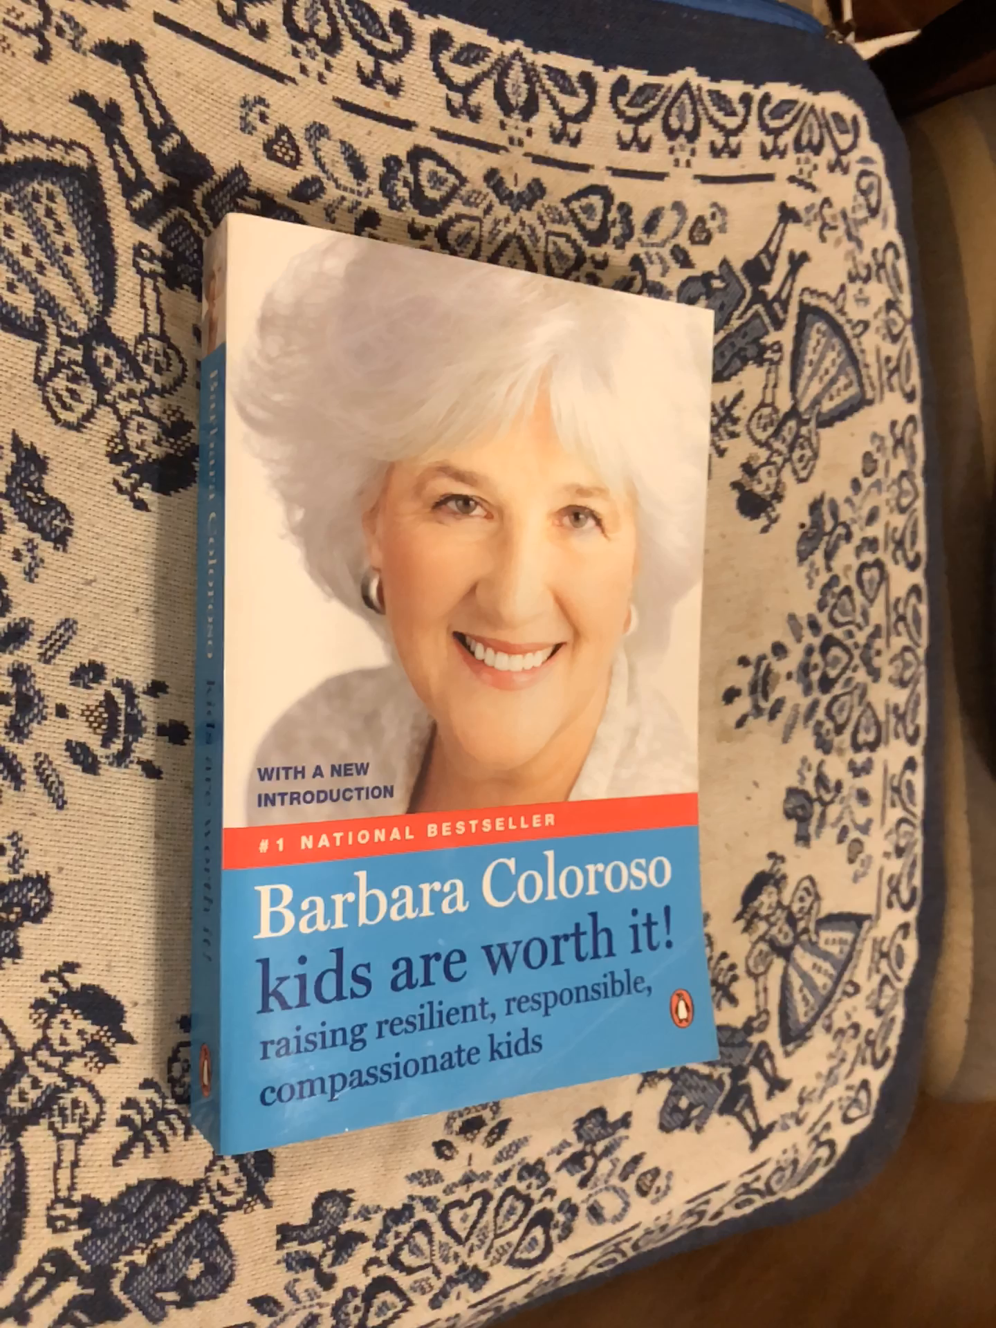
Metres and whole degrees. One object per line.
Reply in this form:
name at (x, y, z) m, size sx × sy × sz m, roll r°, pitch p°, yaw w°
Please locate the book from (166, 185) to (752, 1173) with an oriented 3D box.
book at (-0.007, 0.005, 0.306) m, size 0.150 × 0.050 × 0.220 m, roll 1°, pitch 91°, yaw -31°
